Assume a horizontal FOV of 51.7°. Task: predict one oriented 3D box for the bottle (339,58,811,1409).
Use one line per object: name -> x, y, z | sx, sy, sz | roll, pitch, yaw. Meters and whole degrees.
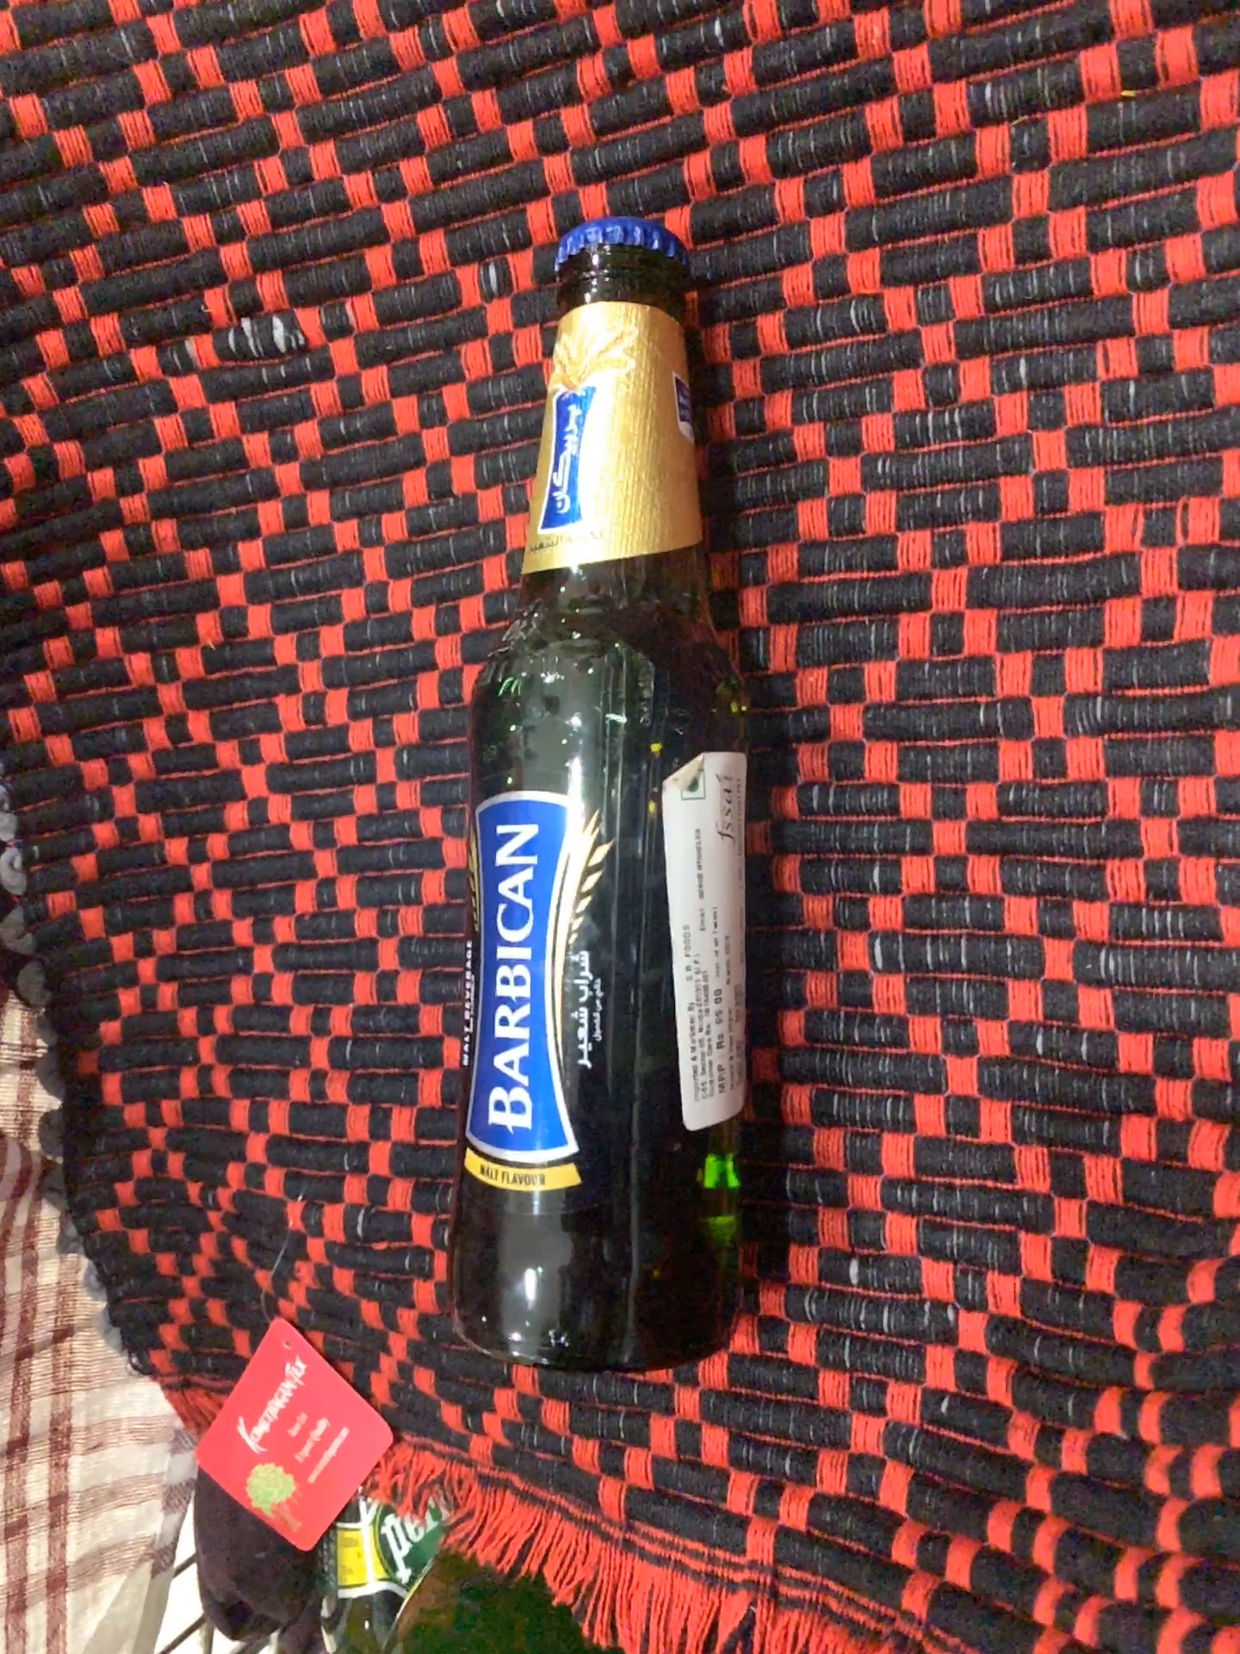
bottle -> -0.004, -0.016, 0.237 | 0.060, 0.060, 0.210 | -1, 85, 26
